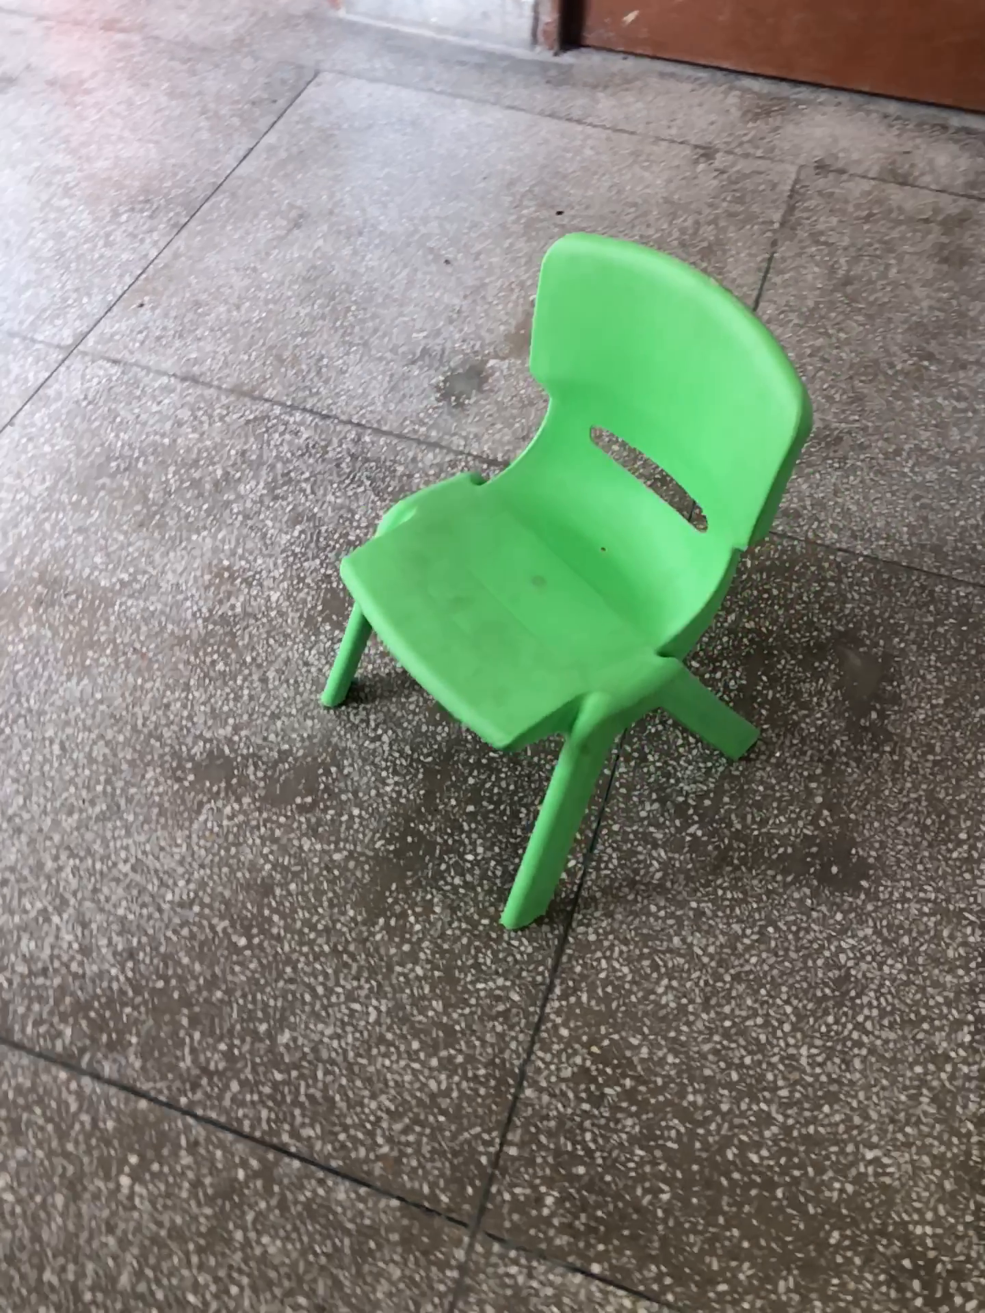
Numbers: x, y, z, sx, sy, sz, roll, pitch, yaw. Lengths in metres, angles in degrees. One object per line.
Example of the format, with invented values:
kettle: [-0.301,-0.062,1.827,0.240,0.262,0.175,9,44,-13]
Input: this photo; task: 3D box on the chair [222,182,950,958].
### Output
chair: [0.061,-0.070,0.985,0.390,0.459,0.371,-32,60,-22]
